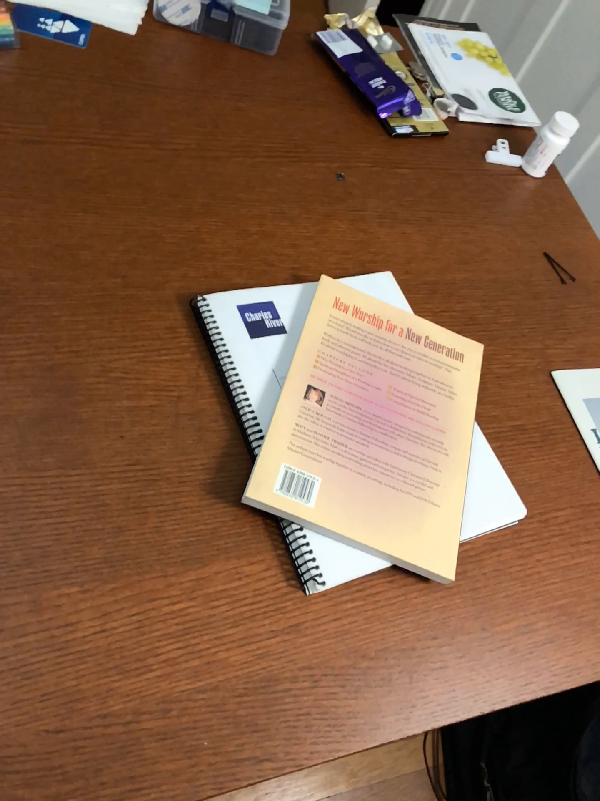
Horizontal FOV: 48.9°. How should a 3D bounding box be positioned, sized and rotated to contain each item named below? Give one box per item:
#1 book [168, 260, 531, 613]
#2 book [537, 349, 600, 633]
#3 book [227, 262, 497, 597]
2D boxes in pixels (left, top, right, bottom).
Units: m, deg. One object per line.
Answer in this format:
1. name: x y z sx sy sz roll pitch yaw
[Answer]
1. book: 0.040 0.005 0.584 0.231 0.020 0.291 -13 65 -26
2. book: 0.372 0.069 0.654 0.200 0.010 0.271 -5 62 -22
3. book: 0.069 0.010 0.570 0.190 0.020 0.261 22 55 -6
